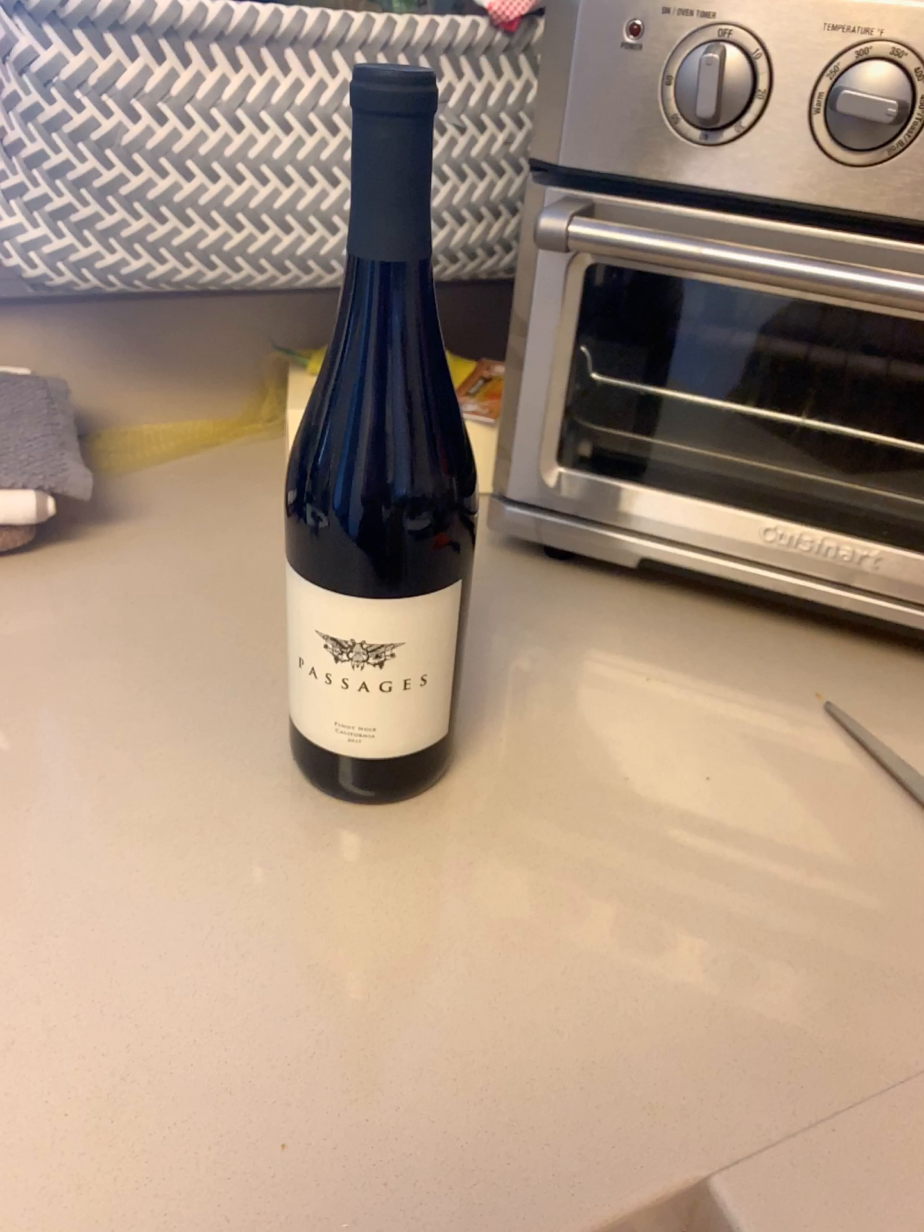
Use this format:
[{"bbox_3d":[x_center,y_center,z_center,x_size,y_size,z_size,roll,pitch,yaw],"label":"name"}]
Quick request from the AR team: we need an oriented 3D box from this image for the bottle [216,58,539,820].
[{"bbox_3d":[-0.032,-0.058,0.374,0.080,0.268,0.090,10,33,7],"label":"bottle"}]
